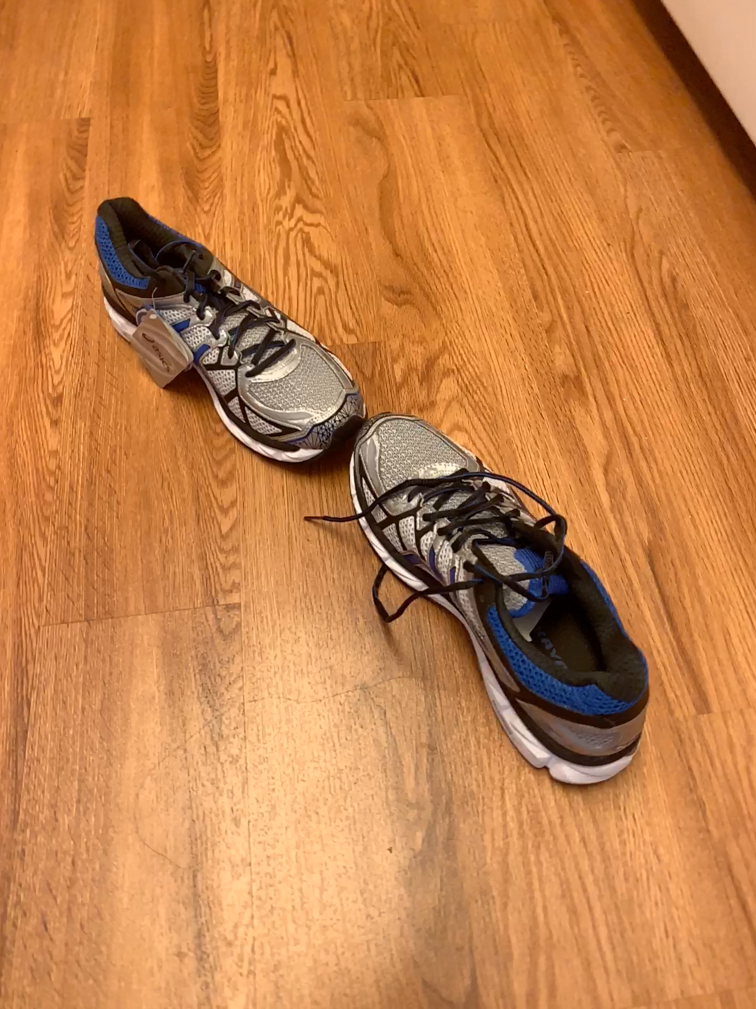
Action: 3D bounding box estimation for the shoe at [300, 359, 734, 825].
[{"bbox_3d":[0.075,0.049,0.539,0.100,0.100,0.311,-31,63,-18],"label":"shoe"}]

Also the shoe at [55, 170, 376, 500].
[{"bbox_3d":[-0.137,-0.150,0.652,0.100,0.100,0.291,-38,66,-21],"label":"shoe"}]
